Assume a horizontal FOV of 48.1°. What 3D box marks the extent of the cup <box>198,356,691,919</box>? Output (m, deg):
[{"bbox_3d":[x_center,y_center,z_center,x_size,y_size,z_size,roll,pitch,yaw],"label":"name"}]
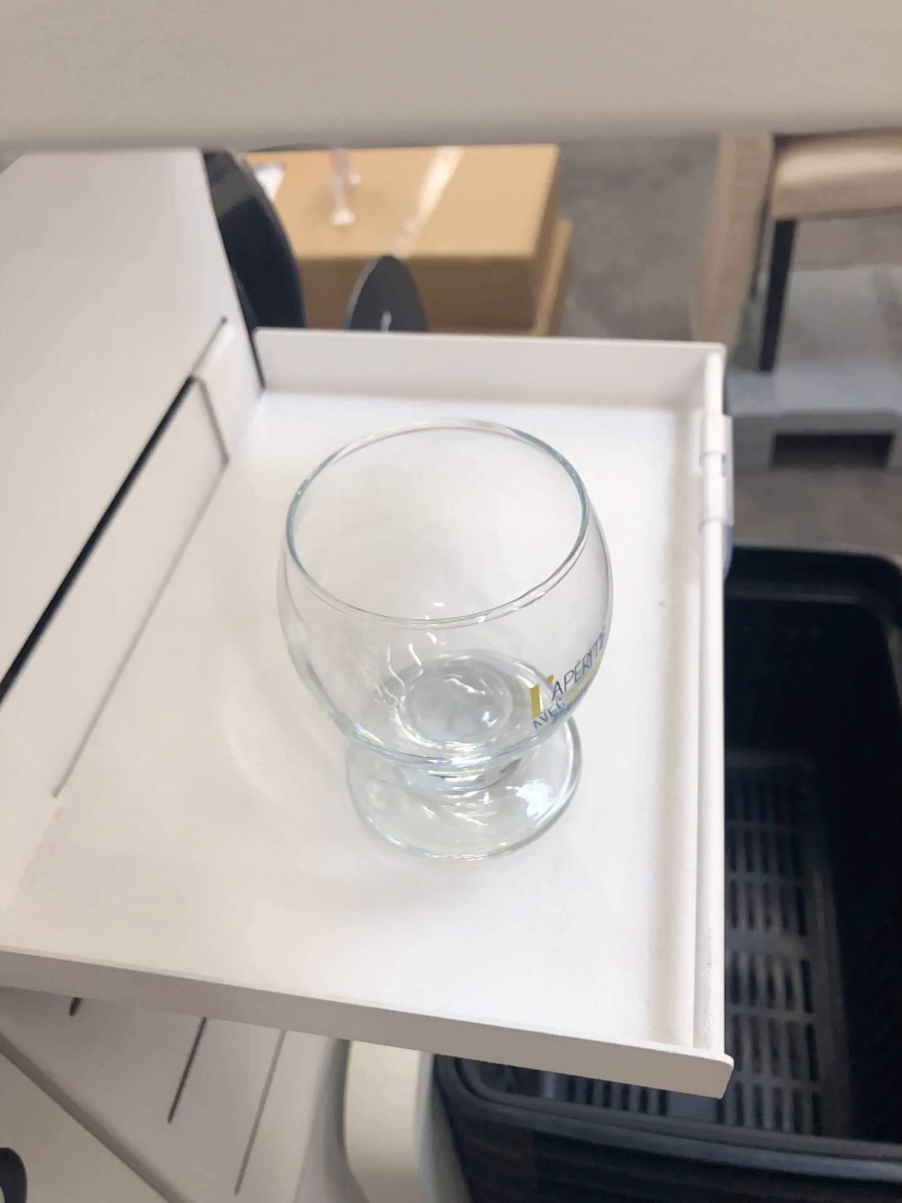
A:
[{"bbox_3d":[0.003,0.008,0.251,0.078,0.093,0.074,-4,46,4],"label":"cup"}]
